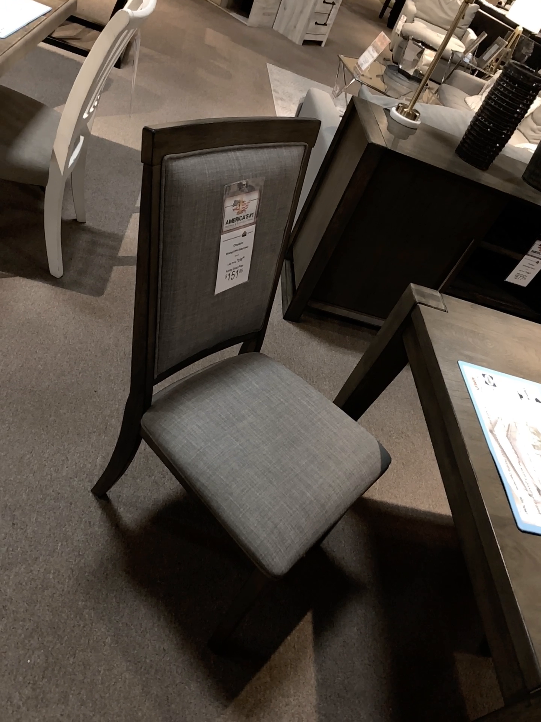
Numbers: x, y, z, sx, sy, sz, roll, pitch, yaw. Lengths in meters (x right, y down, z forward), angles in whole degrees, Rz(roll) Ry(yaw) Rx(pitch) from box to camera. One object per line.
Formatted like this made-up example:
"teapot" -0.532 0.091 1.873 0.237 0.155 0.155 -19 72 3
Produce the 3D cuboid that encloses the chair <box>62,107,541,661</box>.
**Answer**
"chair" -0.010 0.073 1.267 0.643 0.997 0.516 41 42 17
